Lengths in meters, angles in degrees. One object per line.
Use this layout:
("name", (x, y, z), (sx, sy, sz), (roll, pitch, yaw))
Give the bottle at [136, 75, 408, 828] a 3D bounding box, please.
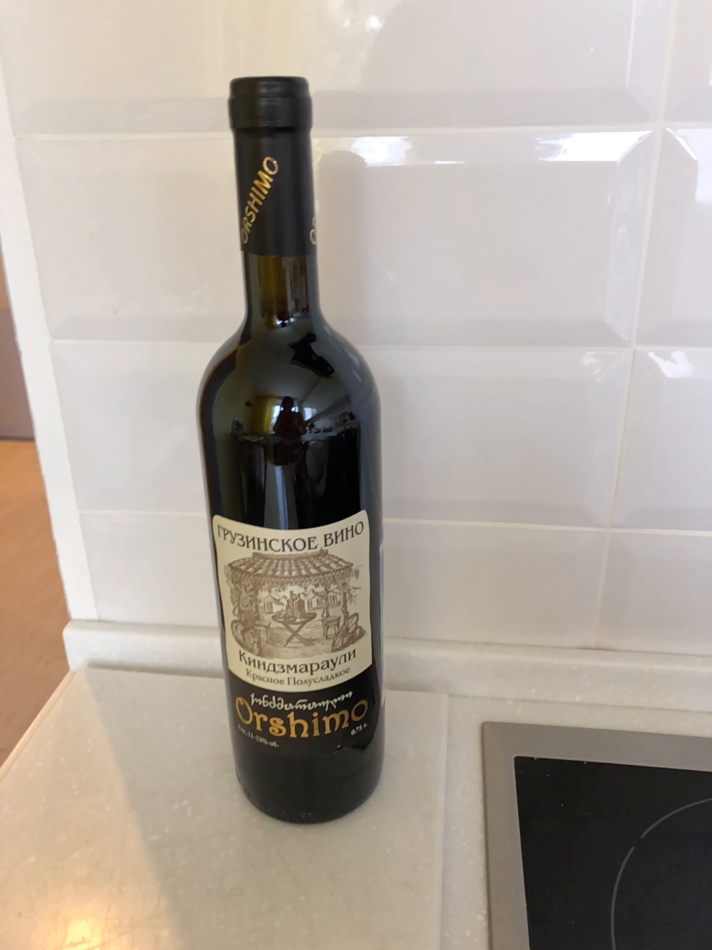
("bottle", (-0.022, 0.003, 0.326), (0.080, 0.298, 0.081), (-1, 24, 0))
